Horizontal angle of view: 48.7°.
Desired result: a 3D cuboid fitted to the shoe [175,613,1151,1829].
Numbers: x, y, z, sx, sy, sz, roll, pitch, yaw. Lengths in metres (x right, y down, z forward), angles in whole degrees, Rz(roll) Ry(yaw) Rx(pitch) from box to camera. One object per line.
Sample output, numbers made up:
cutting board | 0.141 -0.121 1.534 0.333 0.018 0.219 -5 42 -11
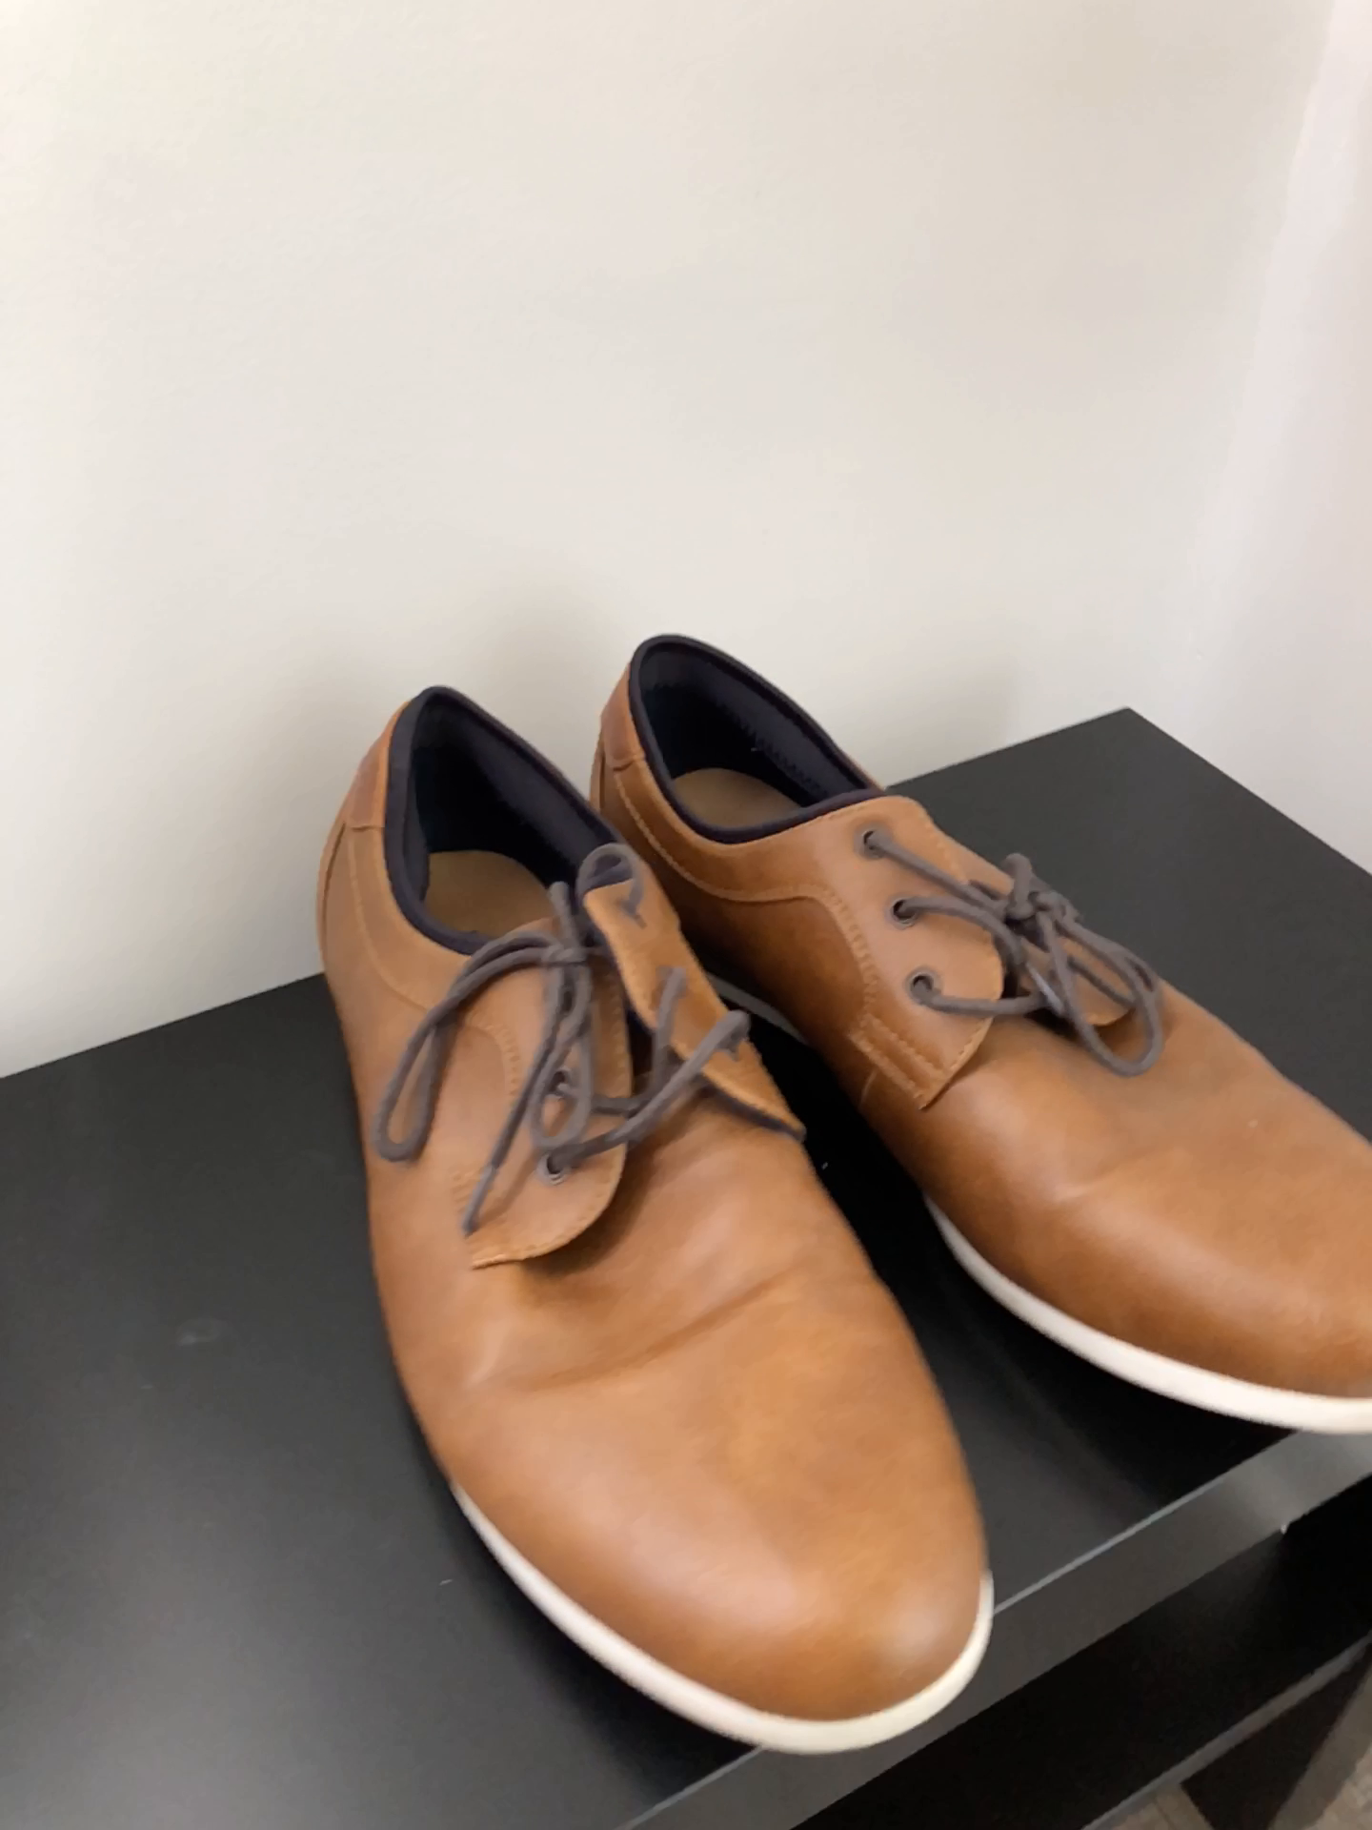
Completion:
shoe | -0.031 0.045 0.342 0.104 0.100 0.271 -15 41 -18

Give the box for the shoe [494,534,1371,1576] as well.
shoe | 0.068 0.009 0.400 0.104 0.100 0.281 -24 44 -27
